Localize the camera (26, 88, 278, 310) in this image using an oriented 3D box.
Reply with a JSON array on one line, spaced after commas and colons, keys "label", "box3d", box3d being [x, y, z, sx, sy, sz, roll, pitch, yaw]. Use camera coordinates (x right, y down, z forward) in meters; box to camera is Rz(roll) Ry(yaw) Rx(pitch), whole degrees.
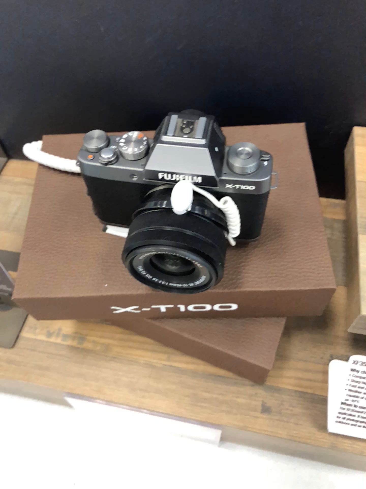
[{"label": "camera", "box3d": [-0.010, -0.027, 0.263, 0.120, 0.090, 0.090, 8, 58, 9]}]
